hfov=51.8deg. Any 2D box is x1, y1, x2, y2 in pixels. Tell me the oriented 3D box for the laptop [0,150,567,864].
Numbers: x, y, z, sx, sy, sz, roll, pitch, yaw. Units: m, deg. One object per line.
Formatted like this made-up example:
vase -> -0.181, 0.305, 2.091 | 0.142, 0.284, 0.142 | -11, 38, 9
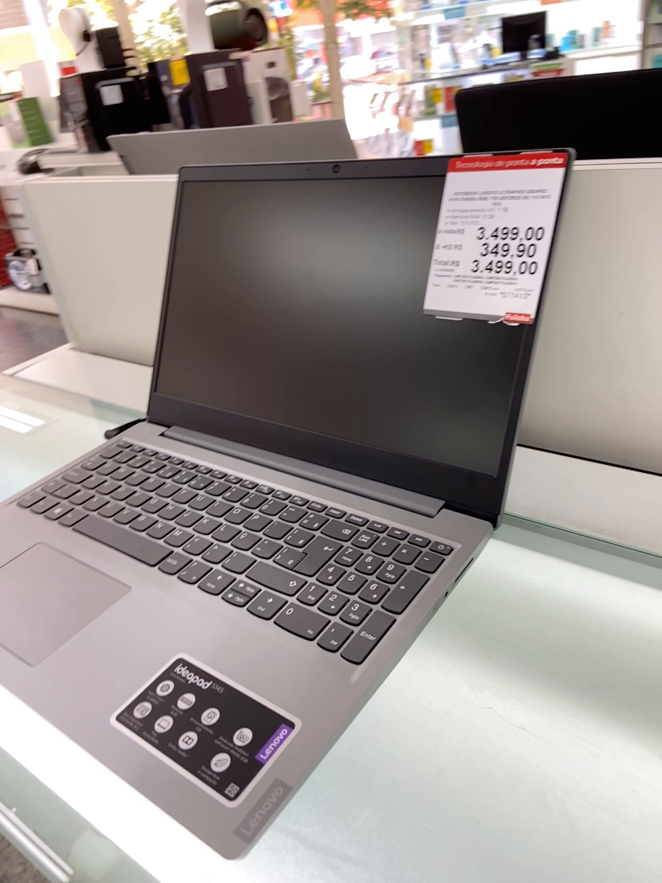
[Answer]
laptop -> -0.090, -0.042, 0.450 | 0.360, 0.201, 0.367 | 14, 37, 35
